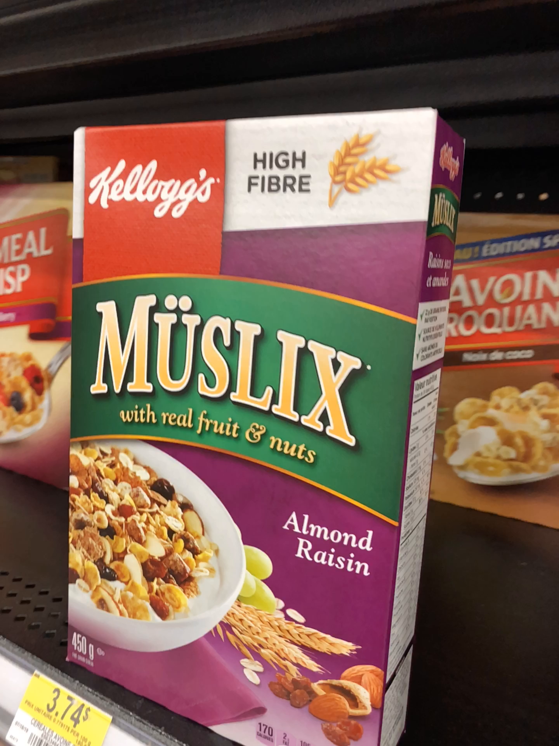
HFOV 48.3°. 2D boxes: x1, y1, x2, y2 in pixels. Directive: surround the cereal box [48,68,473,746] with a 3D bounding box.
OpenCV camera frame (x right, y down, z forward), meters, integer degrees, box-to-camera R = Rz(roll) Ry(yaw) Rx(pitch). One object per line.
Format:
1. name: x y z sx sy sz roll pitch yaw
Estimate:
1. cereal box: -0.021 0.017 0.280 0.170 0.259 0.060 9 11 29
